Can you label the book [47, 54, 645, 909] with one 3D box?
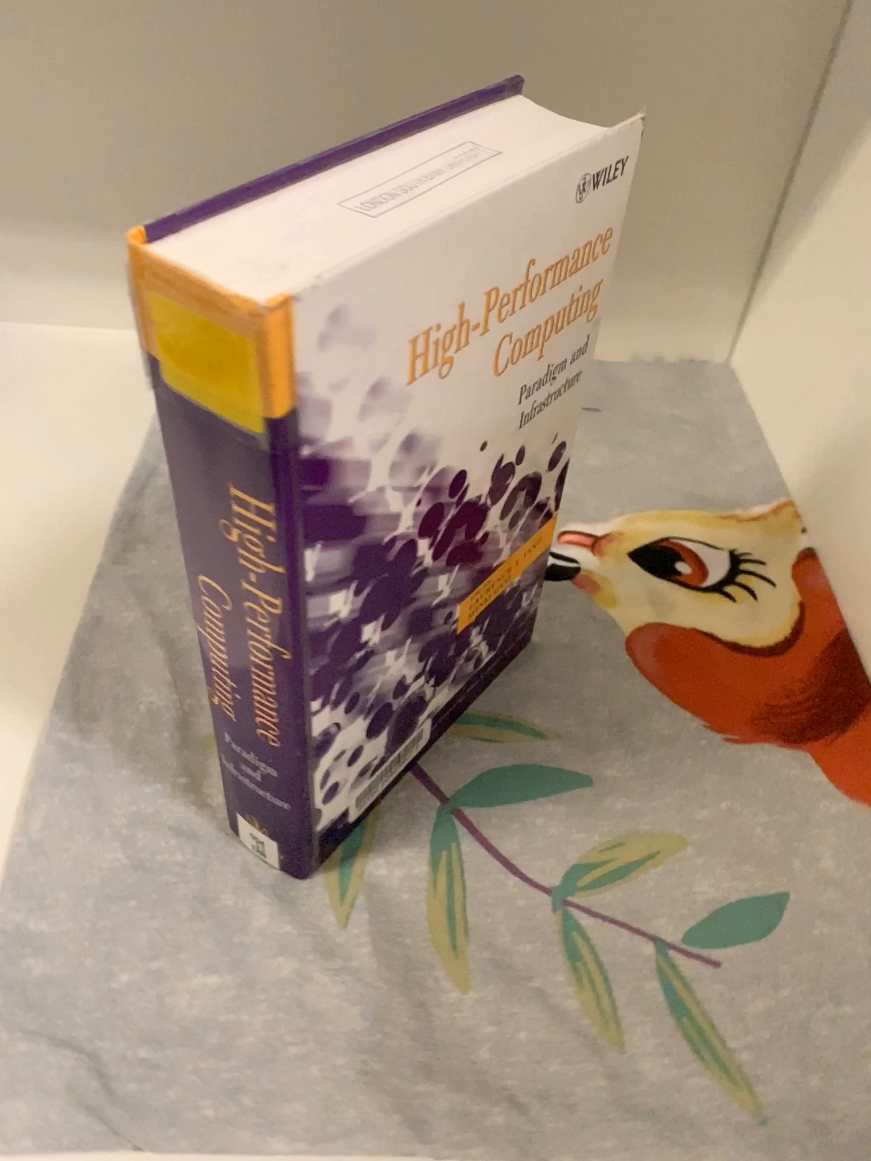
[{"bbox_3d":[-0.015,-0.022,0.307,0.049,0.243,0.169,29,49,24],"label":"book"}]
